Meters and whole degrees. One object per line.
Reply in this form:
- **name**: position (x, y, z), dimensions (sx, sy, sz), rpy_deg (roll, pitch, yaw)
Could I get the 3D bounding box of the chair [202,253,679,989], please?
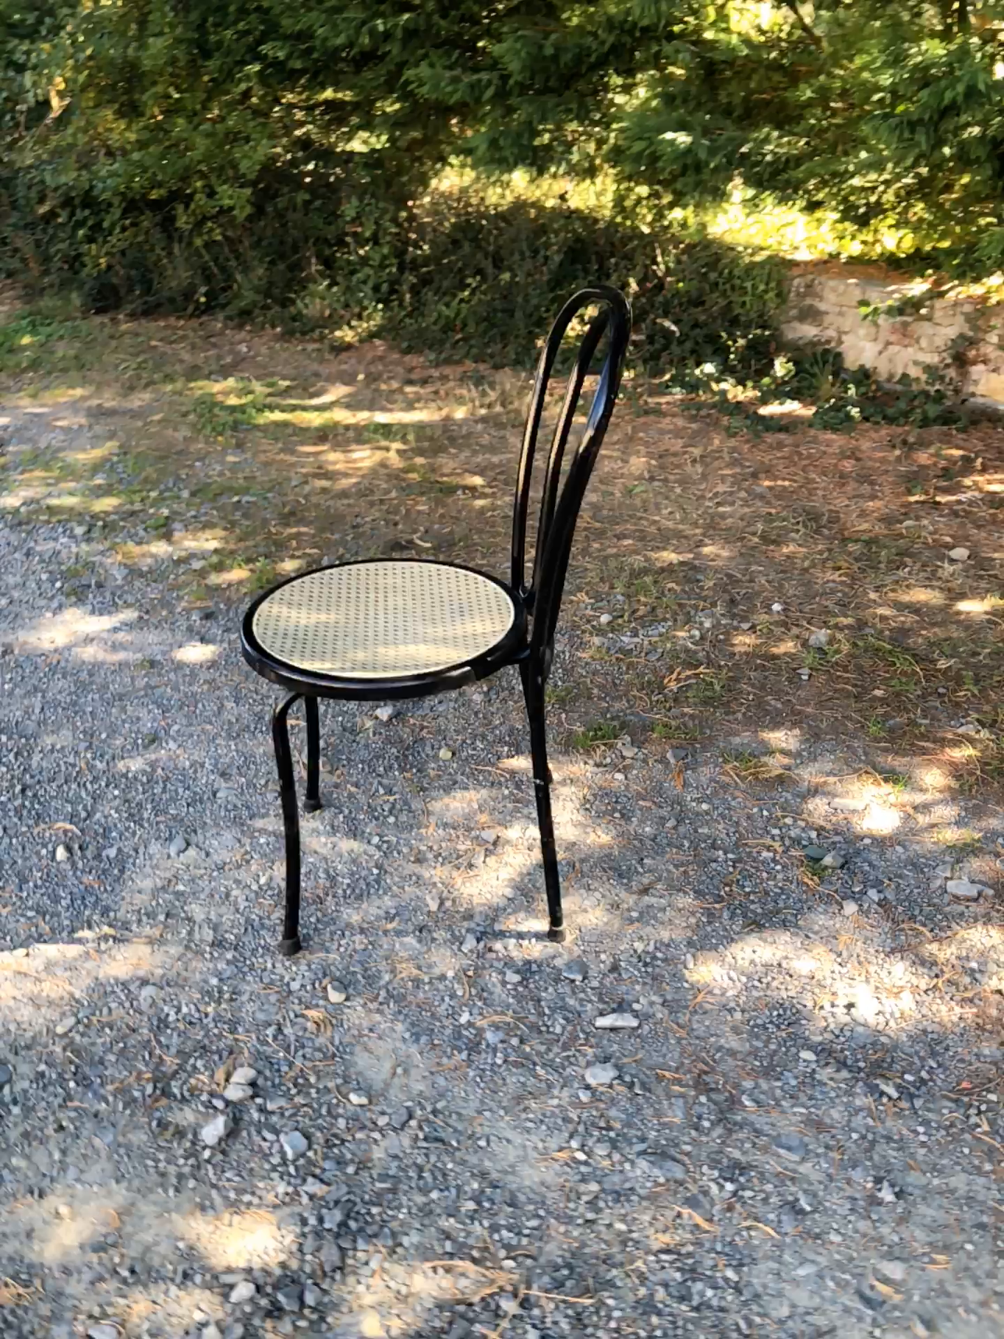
- **chair**: position (-0.078, -0.064, 1.475), dimensions (0.470, 0.875, 0.432), rpy_deg (-1, 27, -3)
